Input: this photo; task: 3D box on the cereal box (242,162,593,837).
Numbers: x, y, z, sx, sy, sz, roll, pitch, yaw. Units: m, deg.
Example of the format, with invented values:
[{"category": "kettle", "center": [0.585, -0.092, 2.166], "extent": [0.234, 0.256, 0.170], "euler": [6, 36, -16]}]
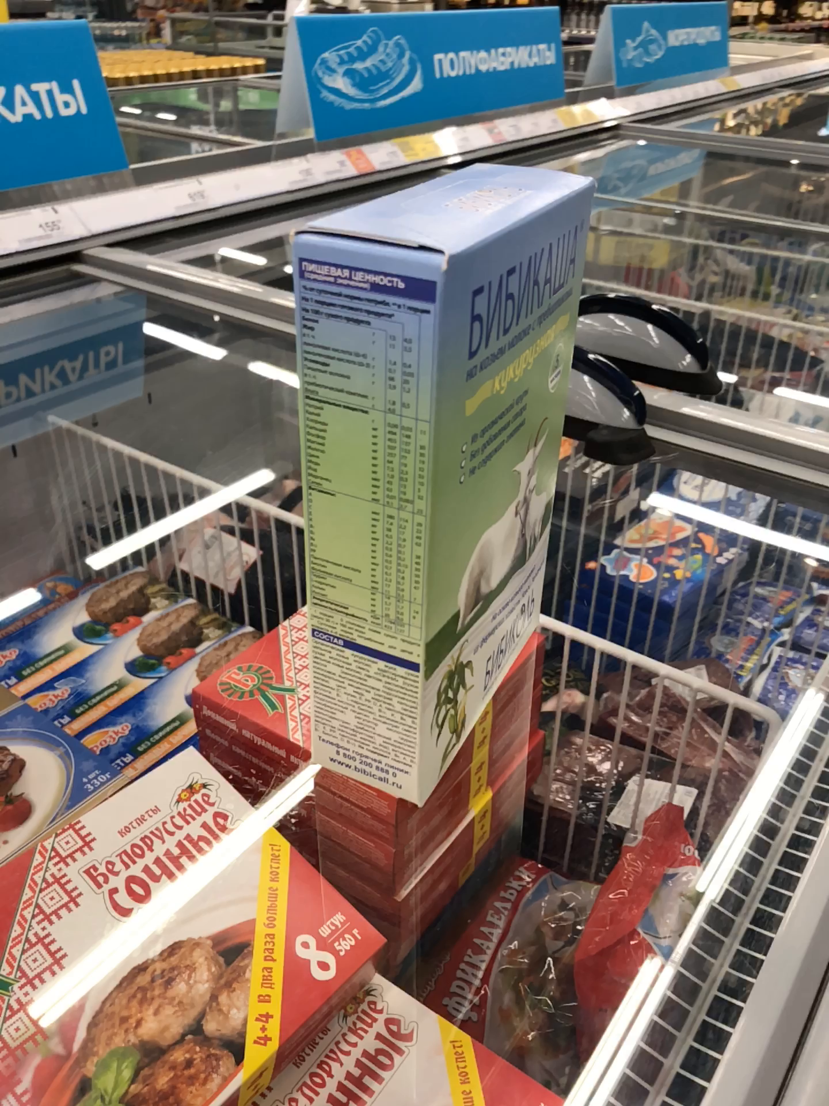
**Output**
[{"category": "cereal box", "center": [0.007, -0.023, 0.333], "extent": [0.050, 0.199, 0.141], "euler": [16, 35, 22]}]
